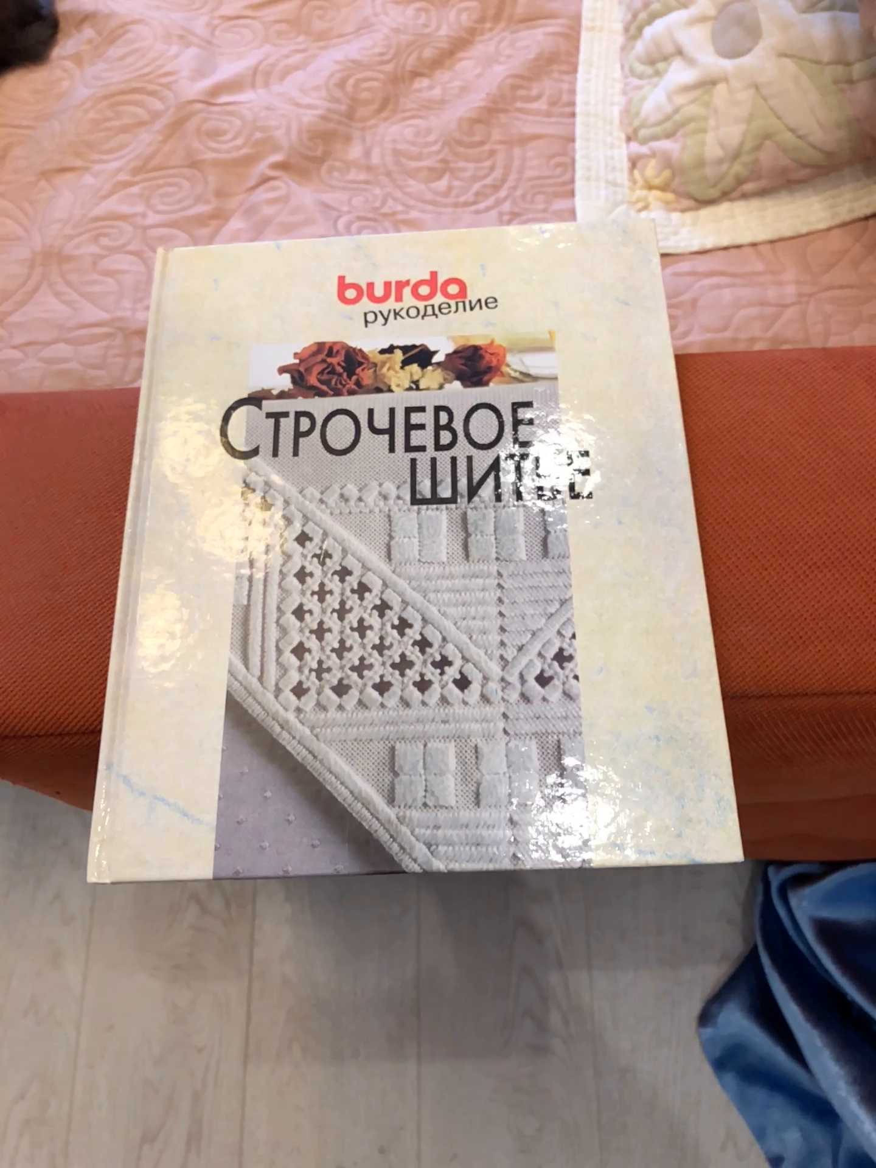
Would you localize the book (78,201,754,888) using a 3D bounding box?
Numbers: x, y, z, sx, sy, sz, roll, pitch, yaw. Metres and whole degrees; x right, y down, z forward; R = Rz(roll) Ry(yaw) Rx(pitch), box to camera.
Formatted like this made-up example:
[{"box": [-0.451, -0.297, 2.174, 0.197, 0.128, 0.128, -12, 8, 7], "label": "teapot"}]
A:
[{"box": [-0.011, -0.025, 0.361, 0.215, 0.020, 0.259, -3, 69, 4], "label": "book"}]
